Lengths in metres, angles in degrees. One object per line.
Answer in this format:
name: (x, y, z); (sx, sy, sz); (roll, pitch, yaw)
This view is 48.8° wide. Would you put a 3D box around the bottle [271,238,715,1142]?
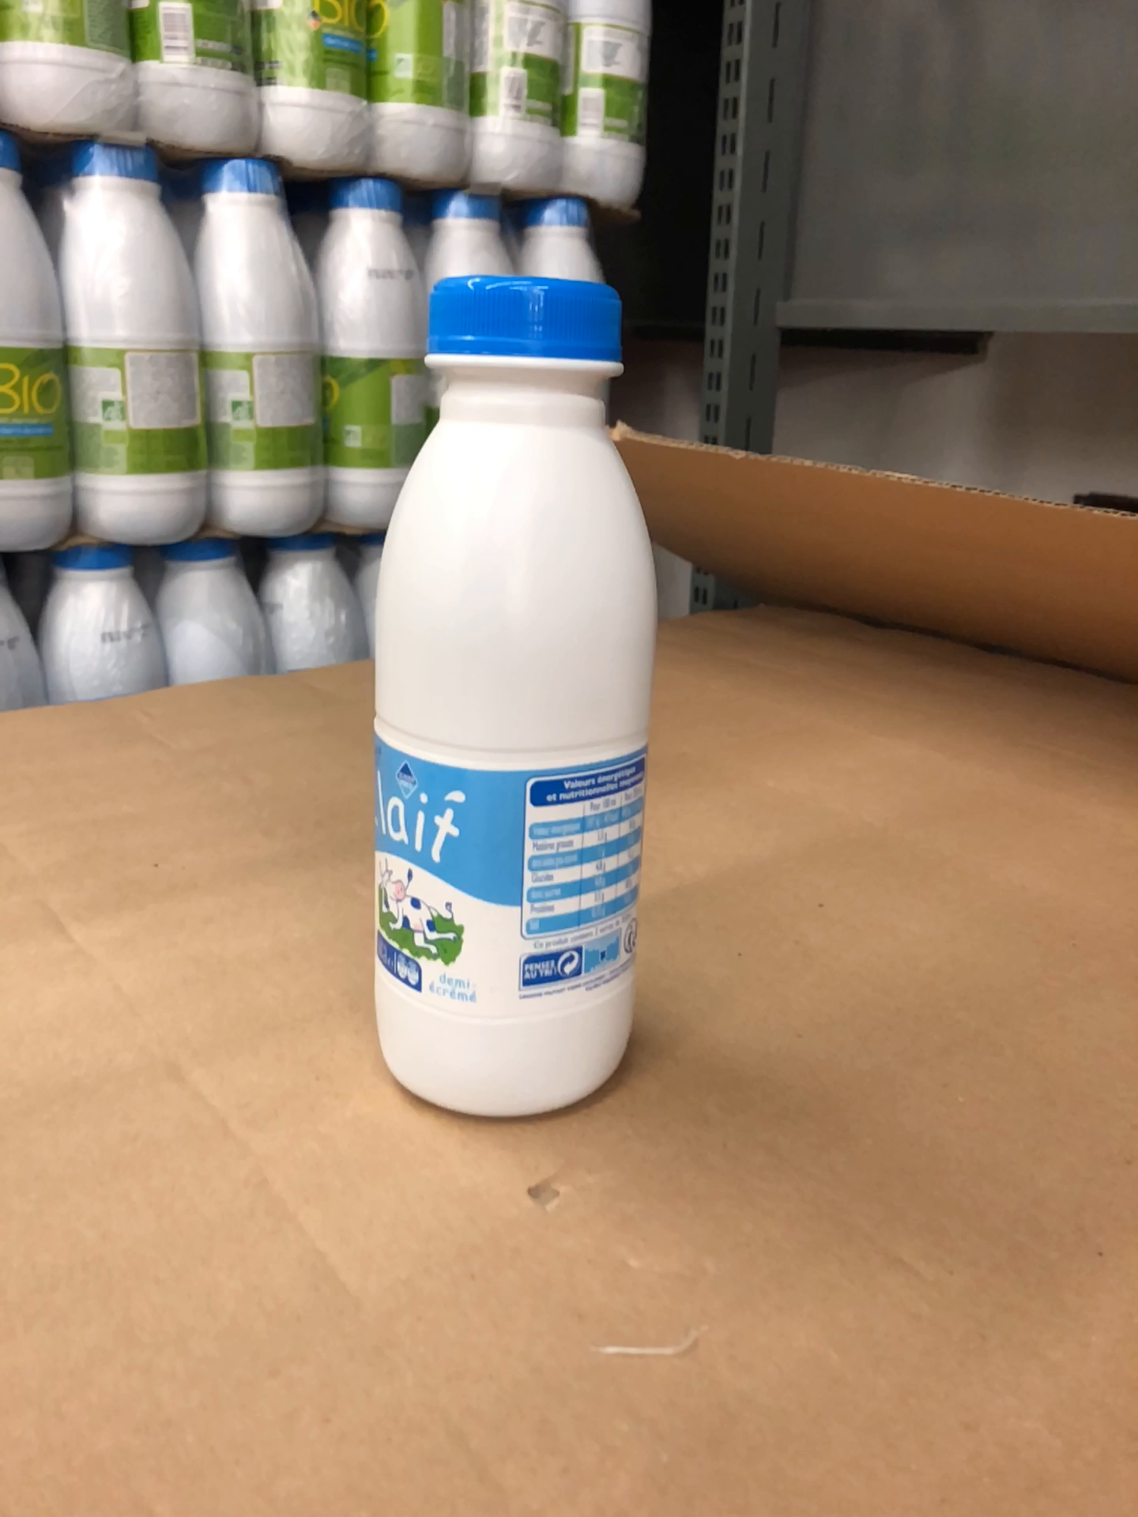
bottle: (-0.020, -0.019, 0.301); (0.070, 0.189, 0.070); (1, 18, 0)
